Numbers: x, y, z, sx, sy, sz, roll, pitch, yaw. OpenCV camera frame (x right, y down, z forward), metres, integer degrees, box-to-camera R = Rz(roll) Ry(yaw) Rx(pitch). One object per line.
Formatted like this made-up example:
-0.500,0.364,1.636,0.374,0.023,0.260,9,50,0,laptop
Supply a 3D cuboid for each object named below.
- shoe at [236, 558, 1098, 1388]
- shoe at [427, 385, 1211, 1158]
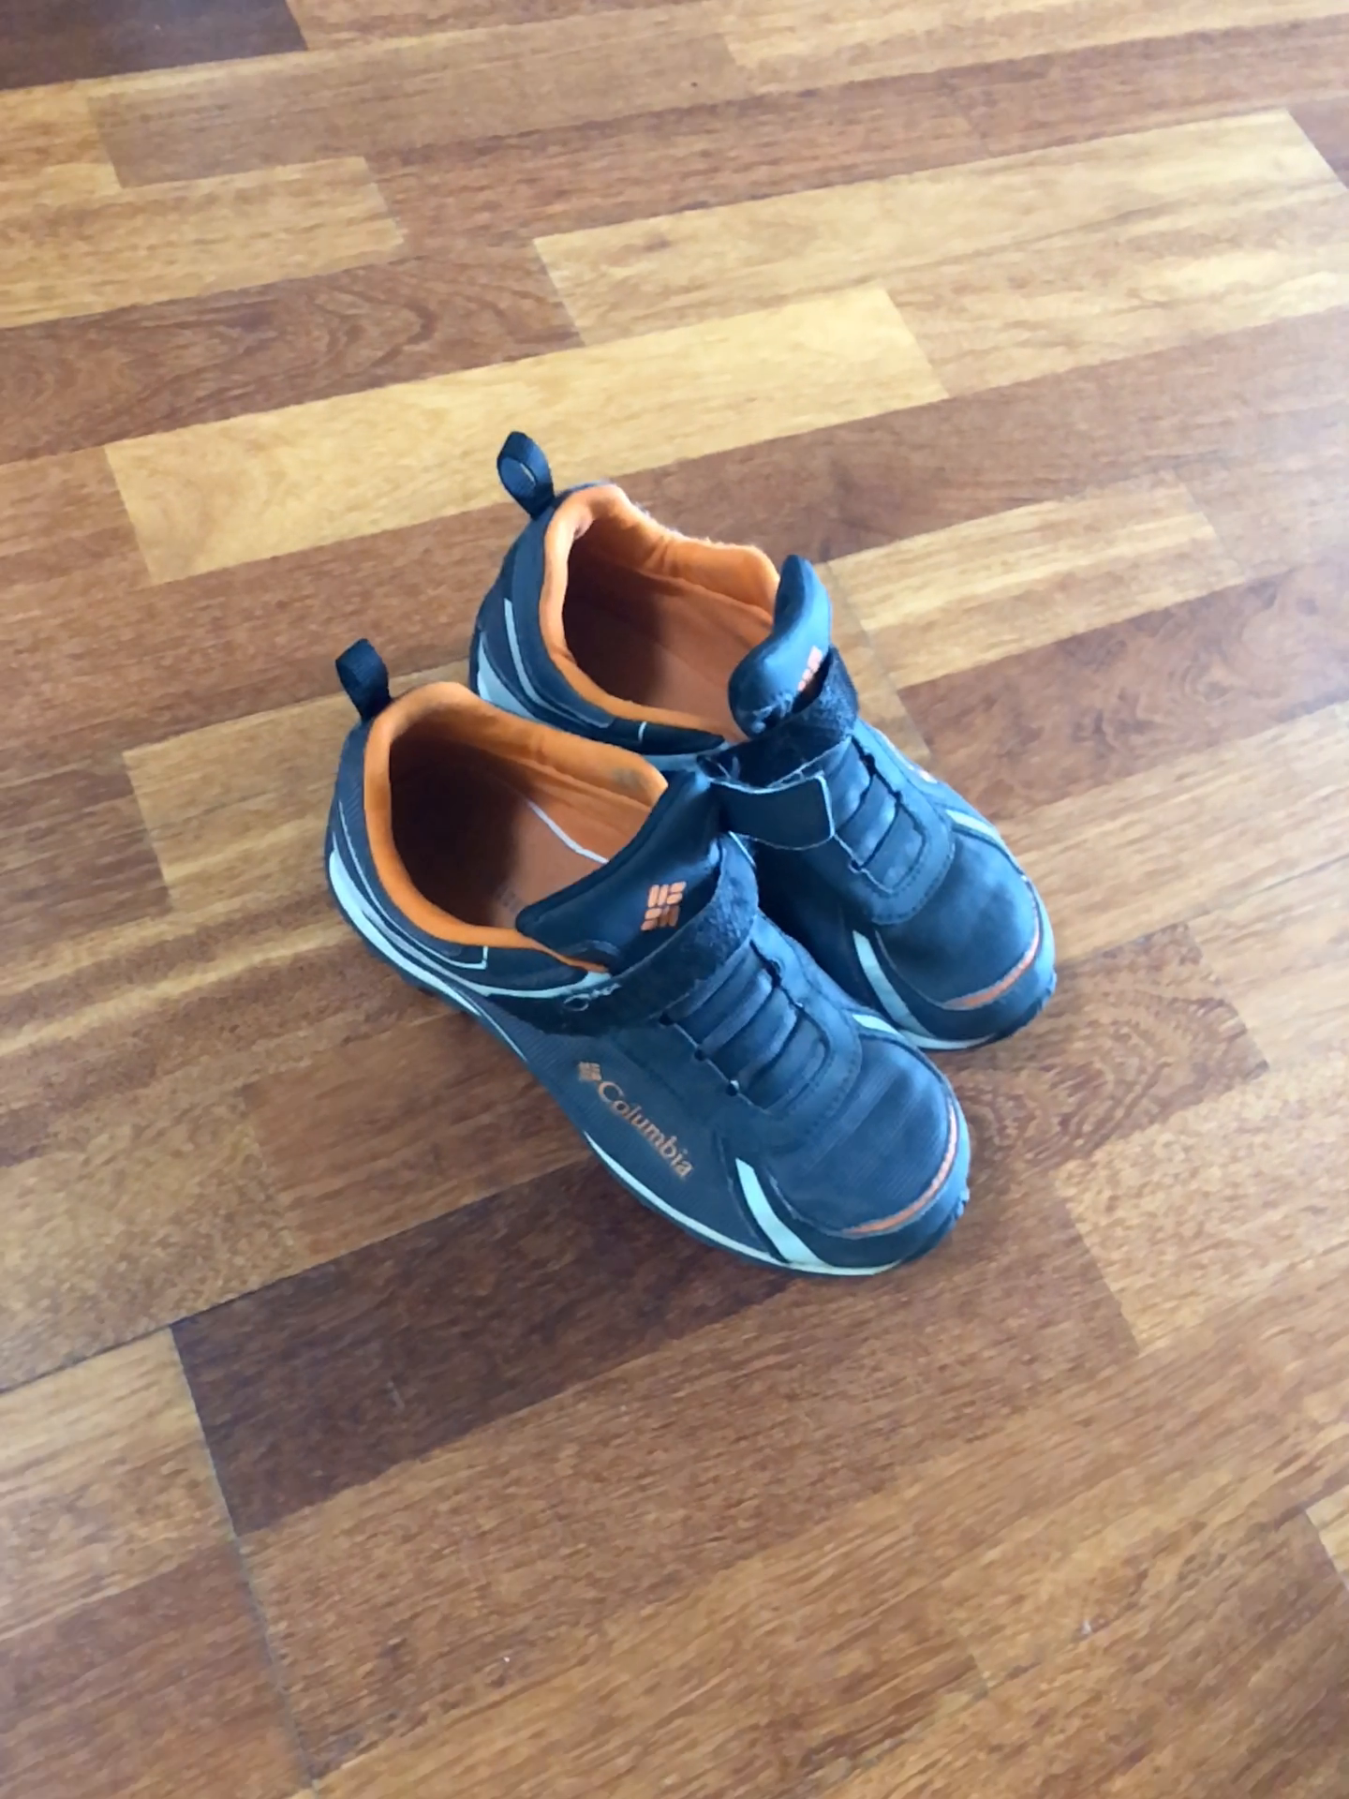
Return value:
-0.011,0.025,0.472,0.247,0.102,0.097,41,64,8,shoe
0.041,-0.044,0.555,0.252,0.127,0.112,41,64,8,shoe
